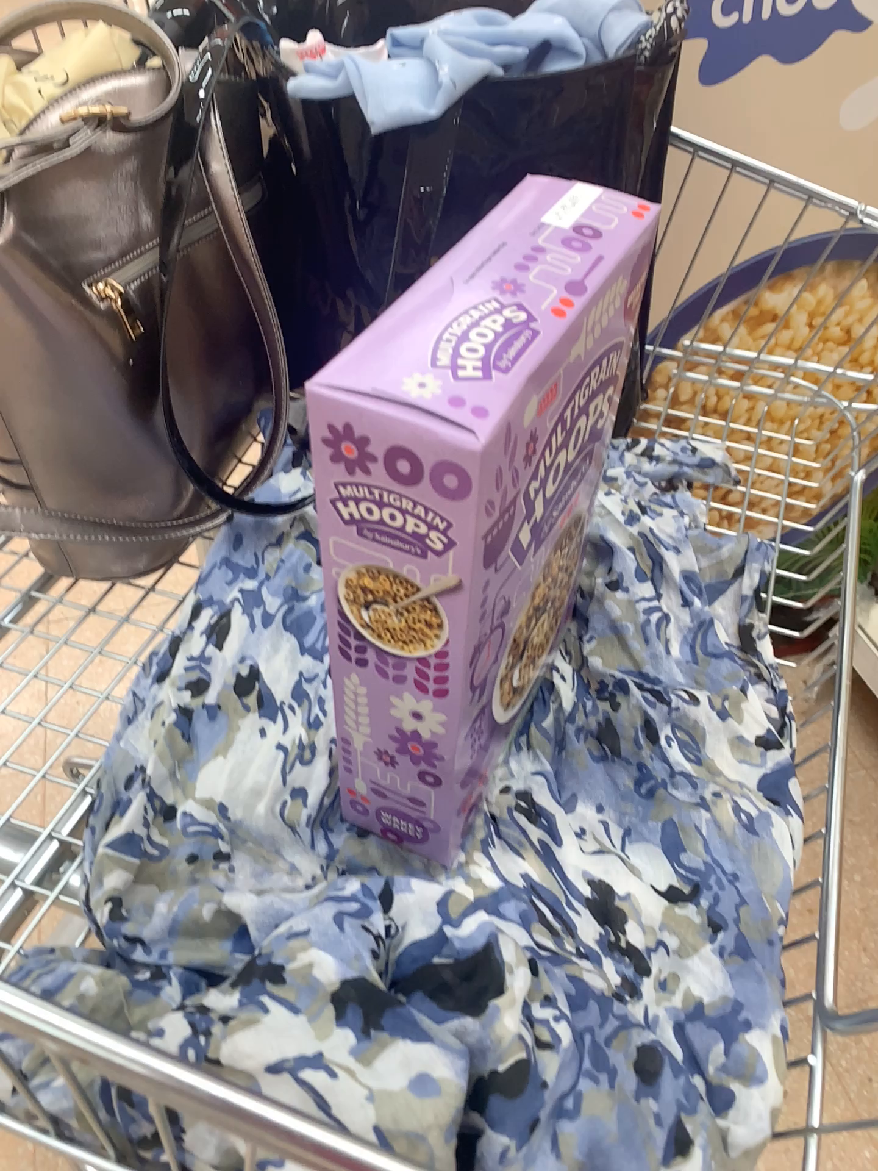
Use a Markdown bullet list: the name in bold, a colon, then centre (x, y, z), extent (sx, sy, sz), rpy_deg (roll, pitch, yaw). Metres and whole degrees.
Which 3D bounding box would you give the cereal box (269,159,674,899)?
- **cereal box**: centre (0.020, -0.021, 0.421), extent (0.070, 0.267, 0.212), rpy_deg (19, 47, 16)
